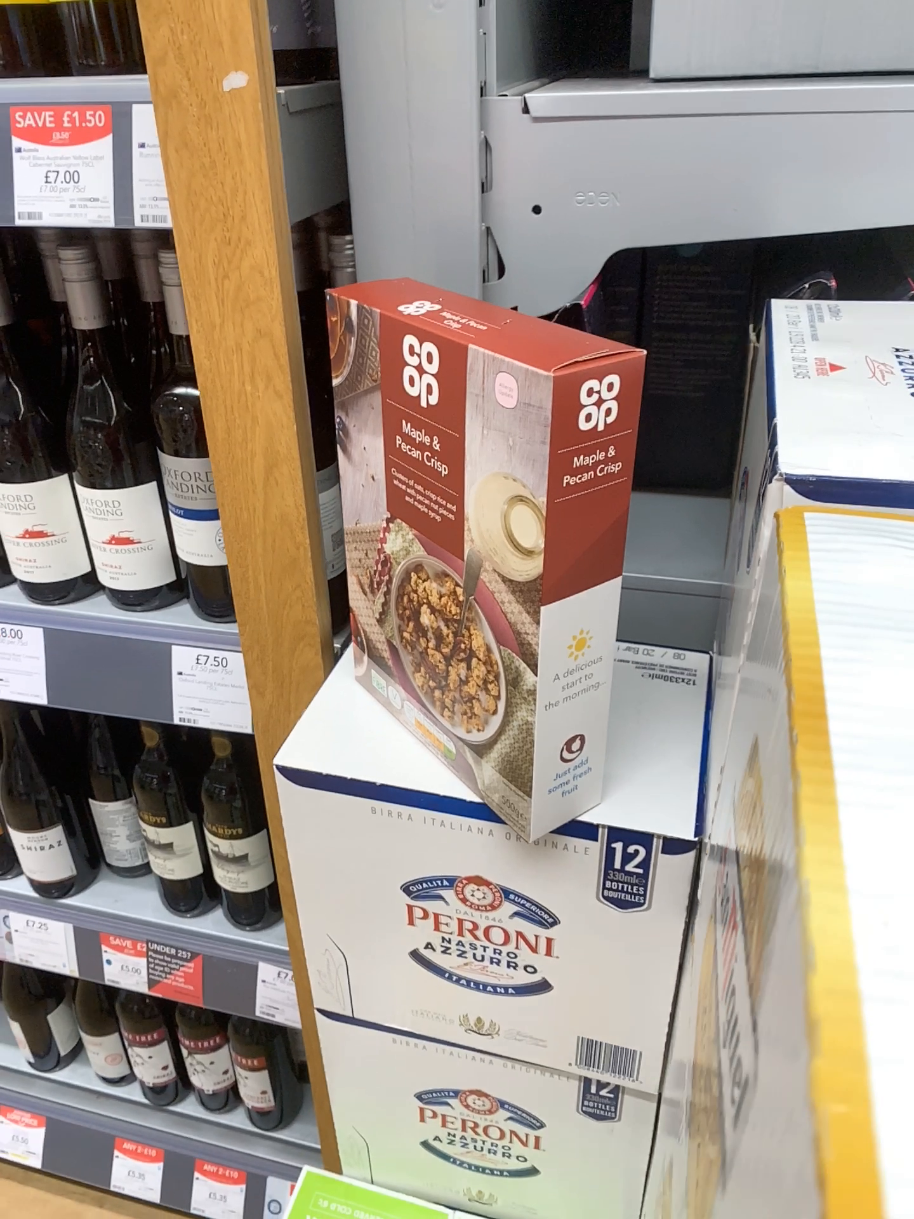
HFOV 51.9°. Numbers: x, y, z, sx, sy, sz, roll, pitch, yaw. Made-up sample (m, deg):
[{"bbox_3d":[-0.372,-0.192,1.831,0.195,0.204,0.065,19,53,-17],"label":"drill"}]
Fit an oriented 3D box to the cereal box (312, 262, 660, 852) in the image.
[{"bbox_3d":[0.005,-0.032,0.487,0.060,0.248,0.181,-20,36,-30],"label":"cereal box"}]
